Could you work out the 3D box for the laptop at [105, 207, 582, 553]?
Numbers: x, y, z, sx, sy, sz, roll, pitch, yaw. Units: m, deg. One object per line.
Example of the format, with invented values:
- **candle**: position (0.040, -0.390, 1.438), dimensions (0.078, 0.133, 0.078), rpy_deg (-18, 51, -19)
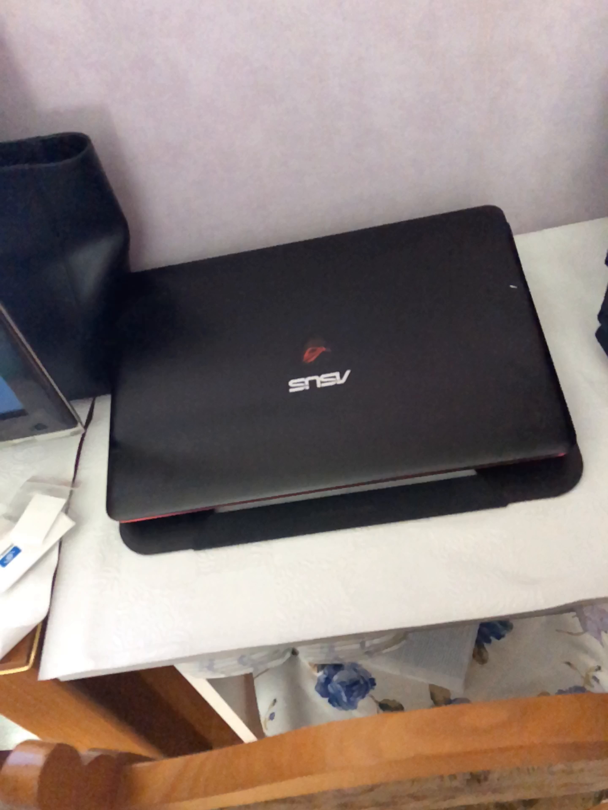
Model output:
- **laptop**: position (0.014, -0.029, 0.632), dimensions (0.394, 0.060, 0.267), rpy_deg (-10, 59, 7)
